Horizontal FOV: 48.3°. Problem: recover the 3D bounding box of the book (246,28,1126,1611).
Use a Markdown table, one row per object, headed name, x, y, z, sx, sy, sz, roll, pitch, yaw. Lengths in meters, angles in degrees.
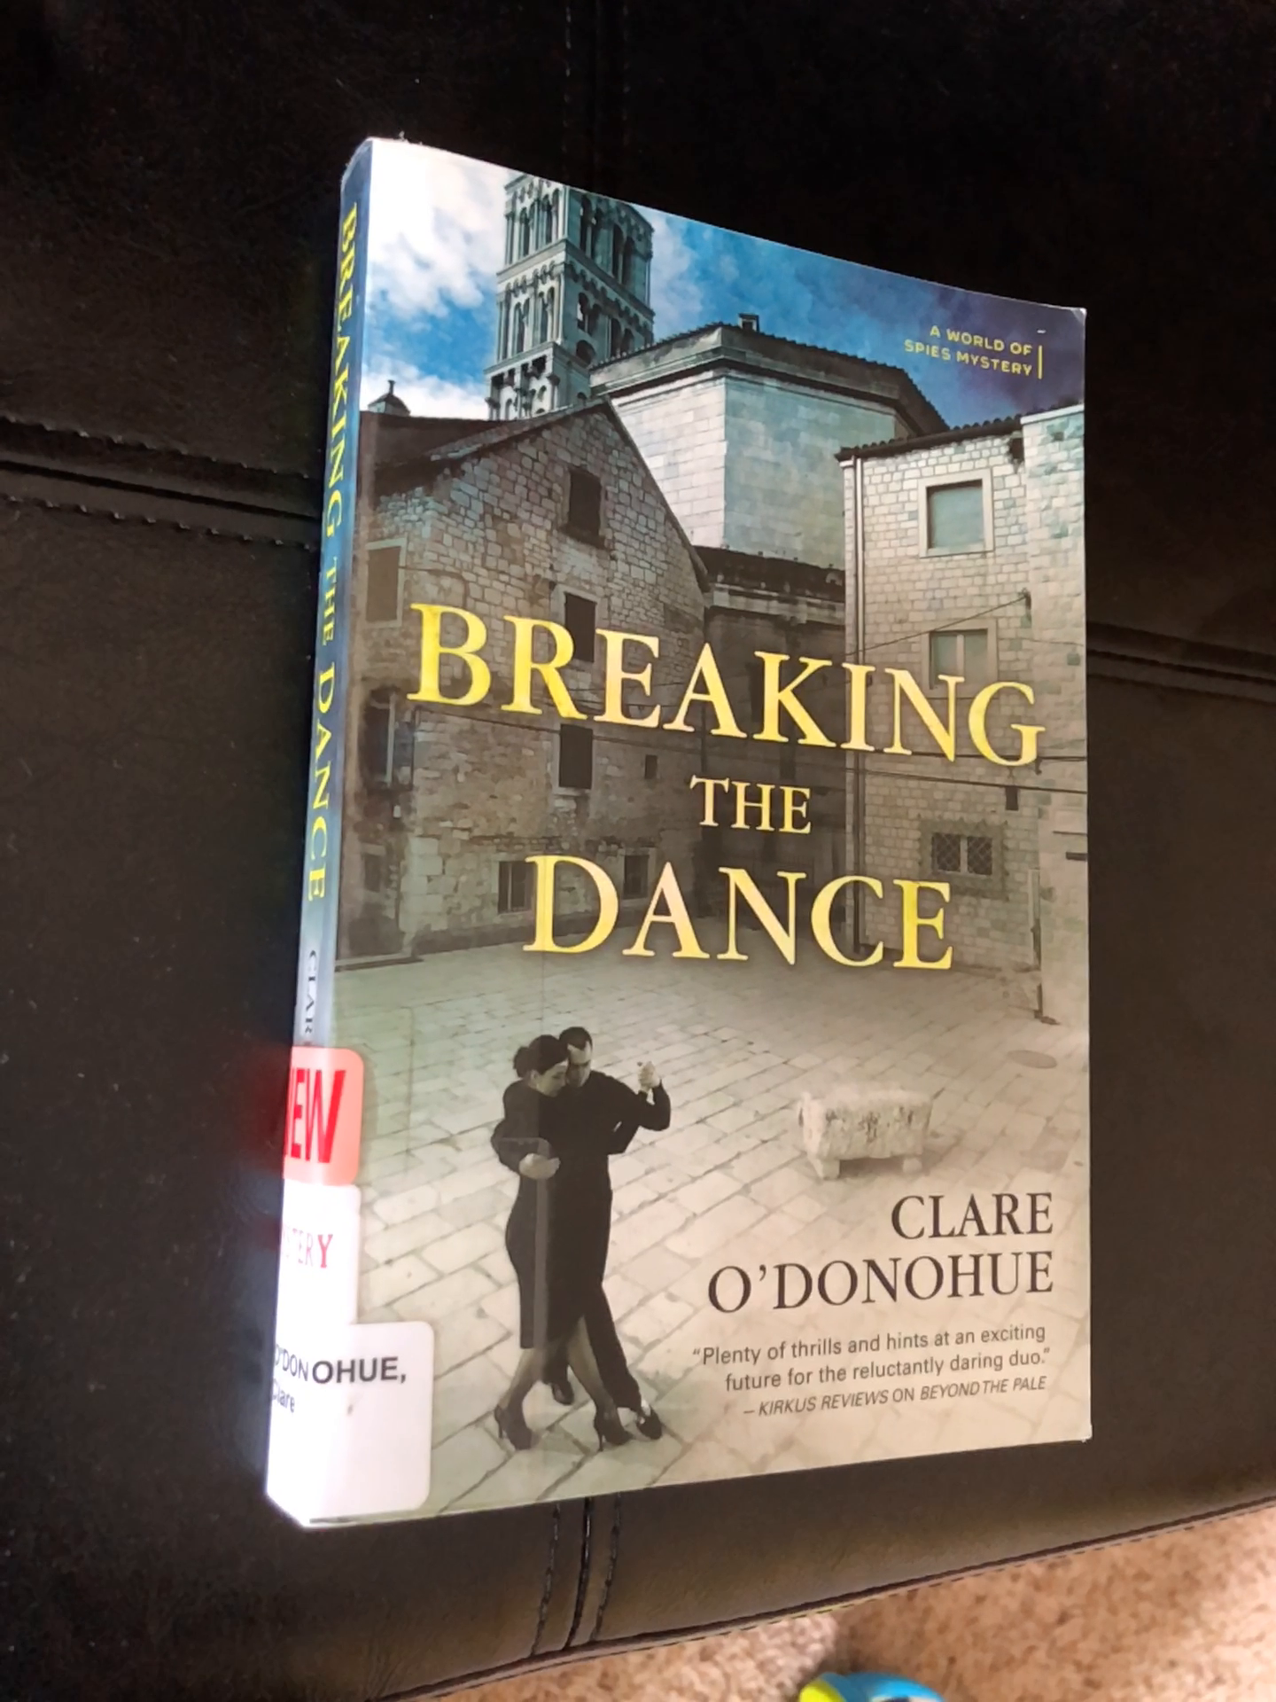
| name | x | y | z | sx | sy | sz | roll | pitch | yaw |
| --- | --- | --- | --- | --- | --- | --- | --- | --- | --- |
| book | 0.017 | -0.003 | 0.239 | 0.141 | 0.040 | 0.210 | 5 | 83 | -29 |
